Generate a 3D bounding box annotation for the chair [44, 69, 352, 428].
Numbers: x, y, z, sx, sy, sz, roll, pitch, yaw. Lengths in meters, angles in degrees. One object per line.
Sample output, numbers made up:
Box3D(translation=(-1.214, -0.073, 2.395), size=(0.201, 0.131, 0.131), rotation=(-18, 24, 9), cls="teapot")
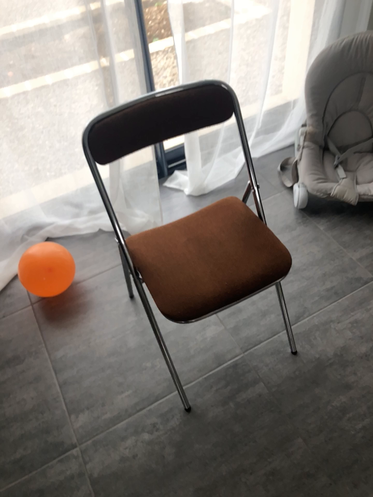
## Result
Box3D(translation=(0.013, 0.019, 1.175), size=(0.481, 0.736, 0.552), rotation=(-23, 50, -14), cls="chair")
